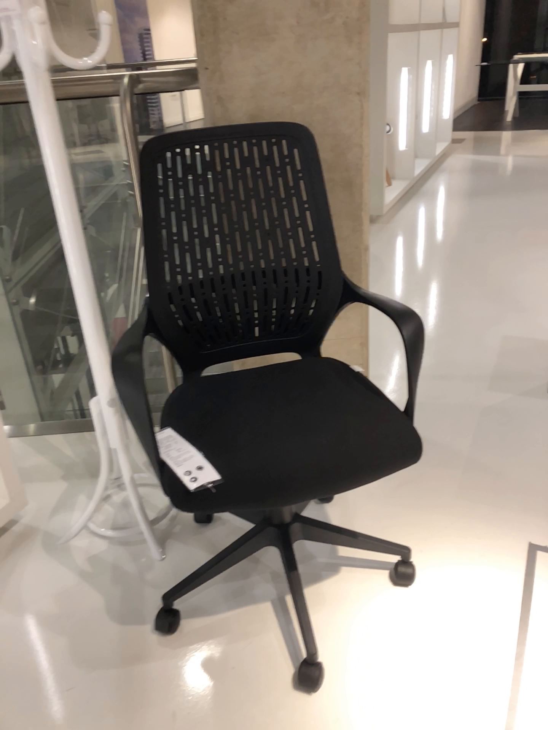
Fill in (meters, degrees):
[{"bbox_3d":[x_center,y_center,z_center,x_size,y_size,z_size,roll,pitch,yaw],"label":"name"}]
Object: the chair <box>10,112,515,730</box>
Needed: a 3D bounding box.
[{"bbox_3d":[-0.030,0.066,1.288,0.640,1.022,0.705,-9,28,-9],"label":"chair"}]
